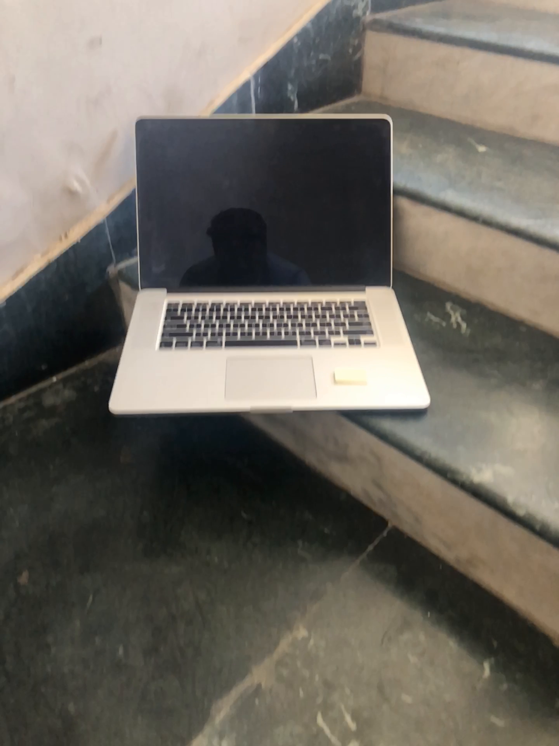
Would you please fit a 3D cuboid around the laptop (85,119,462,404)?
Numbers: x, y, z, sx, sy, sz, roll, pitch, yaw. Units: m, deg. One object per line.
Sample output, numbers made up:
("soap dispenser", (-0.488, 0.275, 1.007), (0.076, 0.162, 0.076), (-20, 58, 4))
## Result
("laptop", (-0.014, -0.158, 0.756), (0.341, 0.194, 0.365), (-1, 38, -2))
